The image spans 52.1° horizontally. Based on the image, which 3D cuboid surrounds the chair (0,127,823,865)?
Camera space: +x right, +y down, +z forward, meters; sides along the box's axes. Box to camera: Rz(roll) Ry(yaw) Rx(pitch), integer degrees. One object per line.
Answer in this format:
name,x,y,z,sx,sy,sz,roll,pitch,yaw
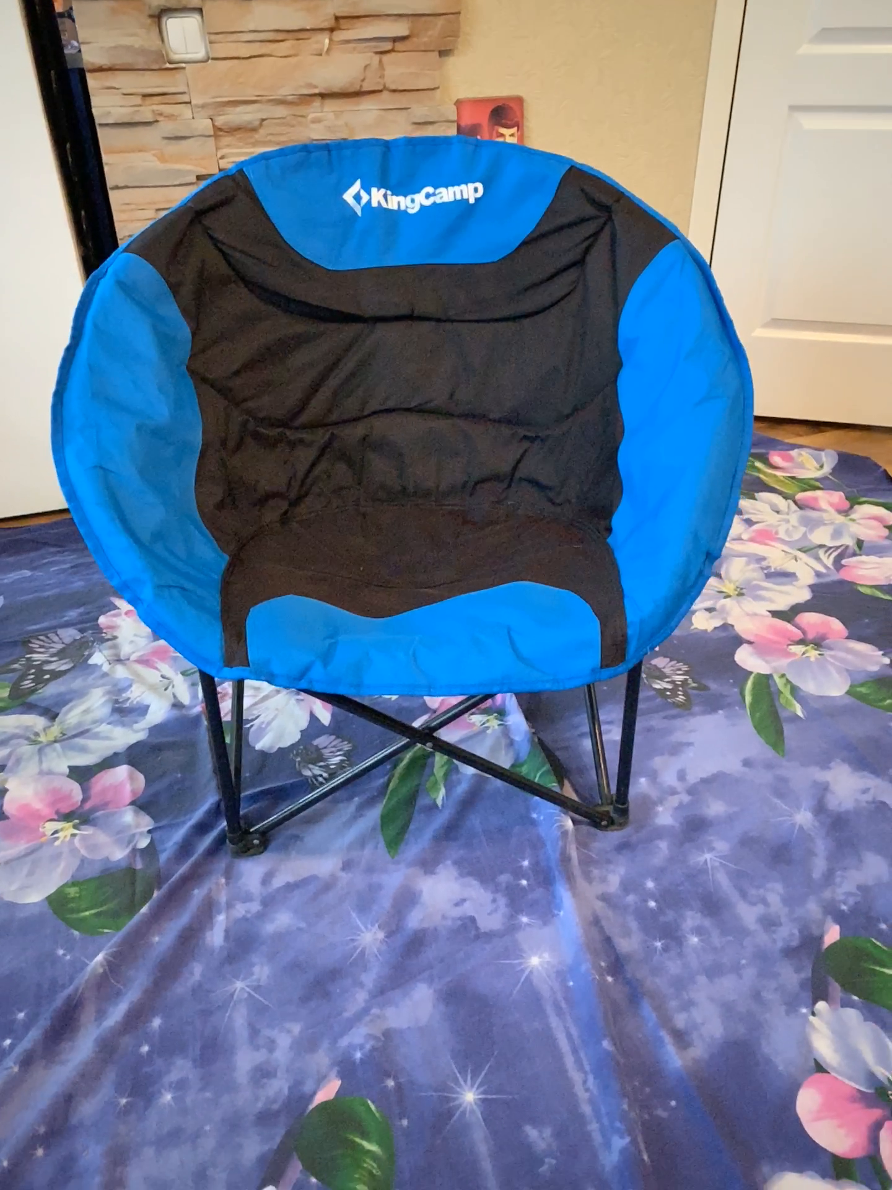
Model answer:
chair,-0.061,-0.161,1.232,0.760,0.772,0.613,-2,31,-1
